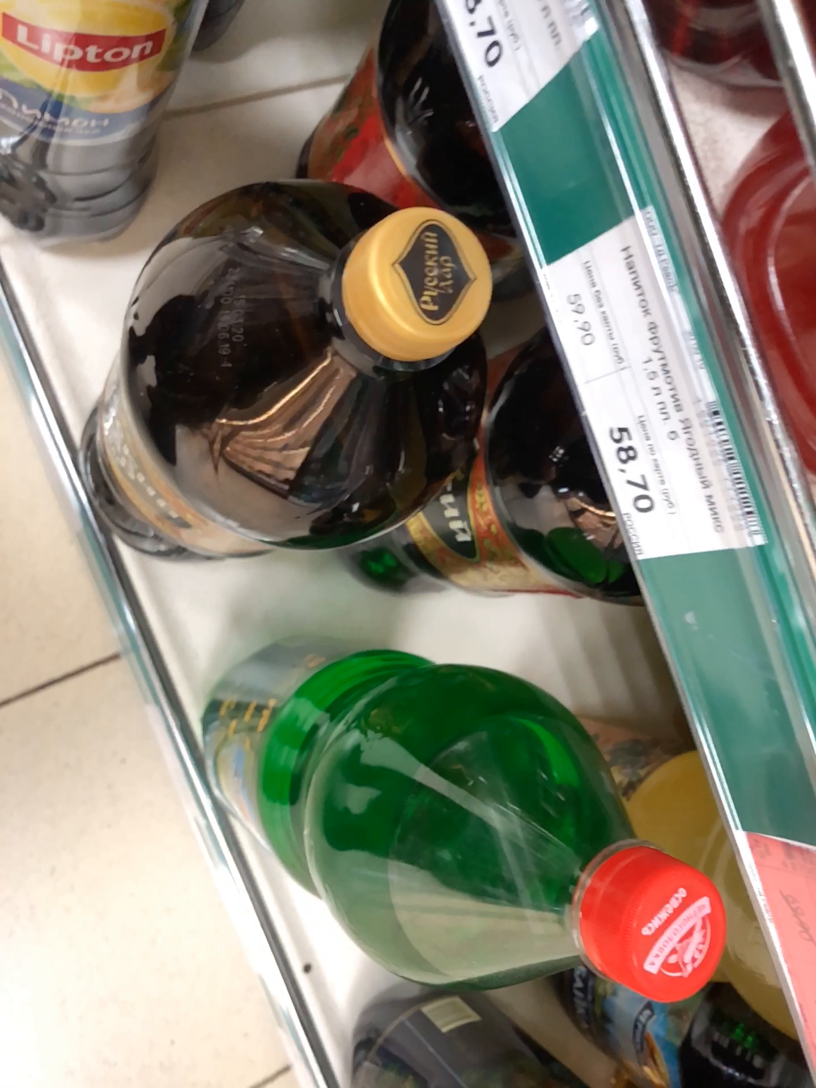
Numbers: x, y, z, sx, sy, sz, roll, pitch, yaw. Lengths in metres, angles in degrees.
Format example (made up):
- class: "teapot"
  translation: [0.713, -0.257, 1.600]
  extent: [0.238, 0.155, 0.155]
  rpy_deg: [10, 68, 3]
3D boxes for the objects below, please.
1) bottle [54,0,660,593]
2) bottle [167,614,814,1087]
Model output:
- class: "bottle"
  translation: [-0.061, -0.051, 0.334]
  extent: [0.100, 0.323, 0.110]
  rpy_deg: [1, 87, -21]
- class: "bottle"
  translation: [-0.016, 0.092, 0.346]
  extent: [0.085, 0.328, 0.099]
  rpy_deg: [-18, 94, -21]
